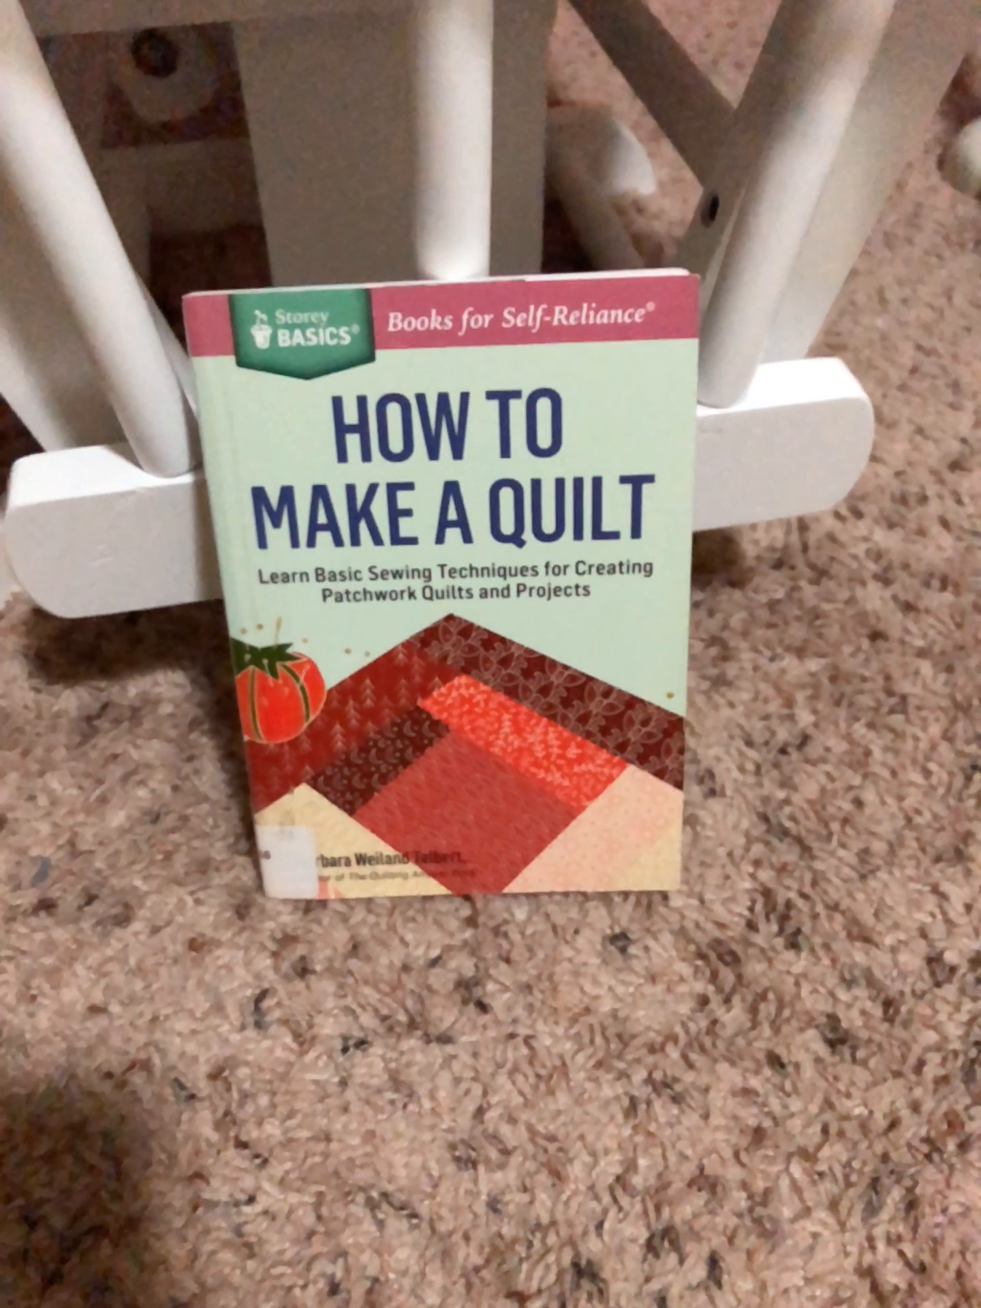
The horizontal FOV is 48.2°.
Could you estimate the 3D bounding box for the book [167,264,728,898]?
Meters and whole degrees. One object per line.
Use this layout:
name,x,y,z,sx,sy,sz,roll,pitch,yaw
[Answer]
book,-0.008,-0.014,0.294,0.130,0.168,0.020,-2,21,0
